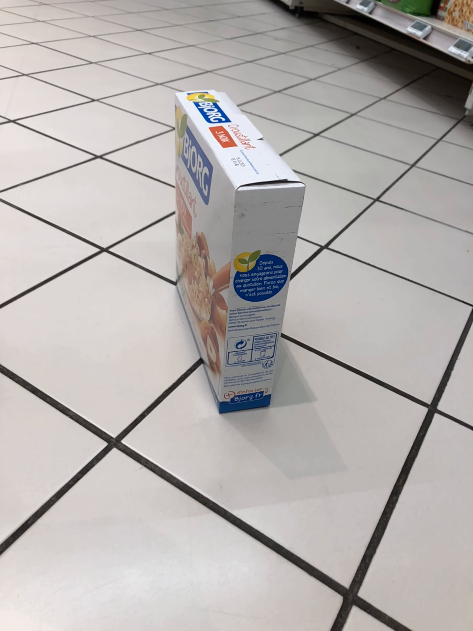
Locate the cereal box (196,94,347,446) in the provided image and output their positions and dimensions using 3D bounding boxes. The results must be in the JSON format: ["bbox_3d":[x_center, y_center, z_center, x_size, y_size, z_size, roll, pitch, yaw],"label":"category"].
[{"bbox_3d":[0.010,-0.046,0.447,0.060,0.219,0.211,-4,37,-11],"label":"cereal box"}]
